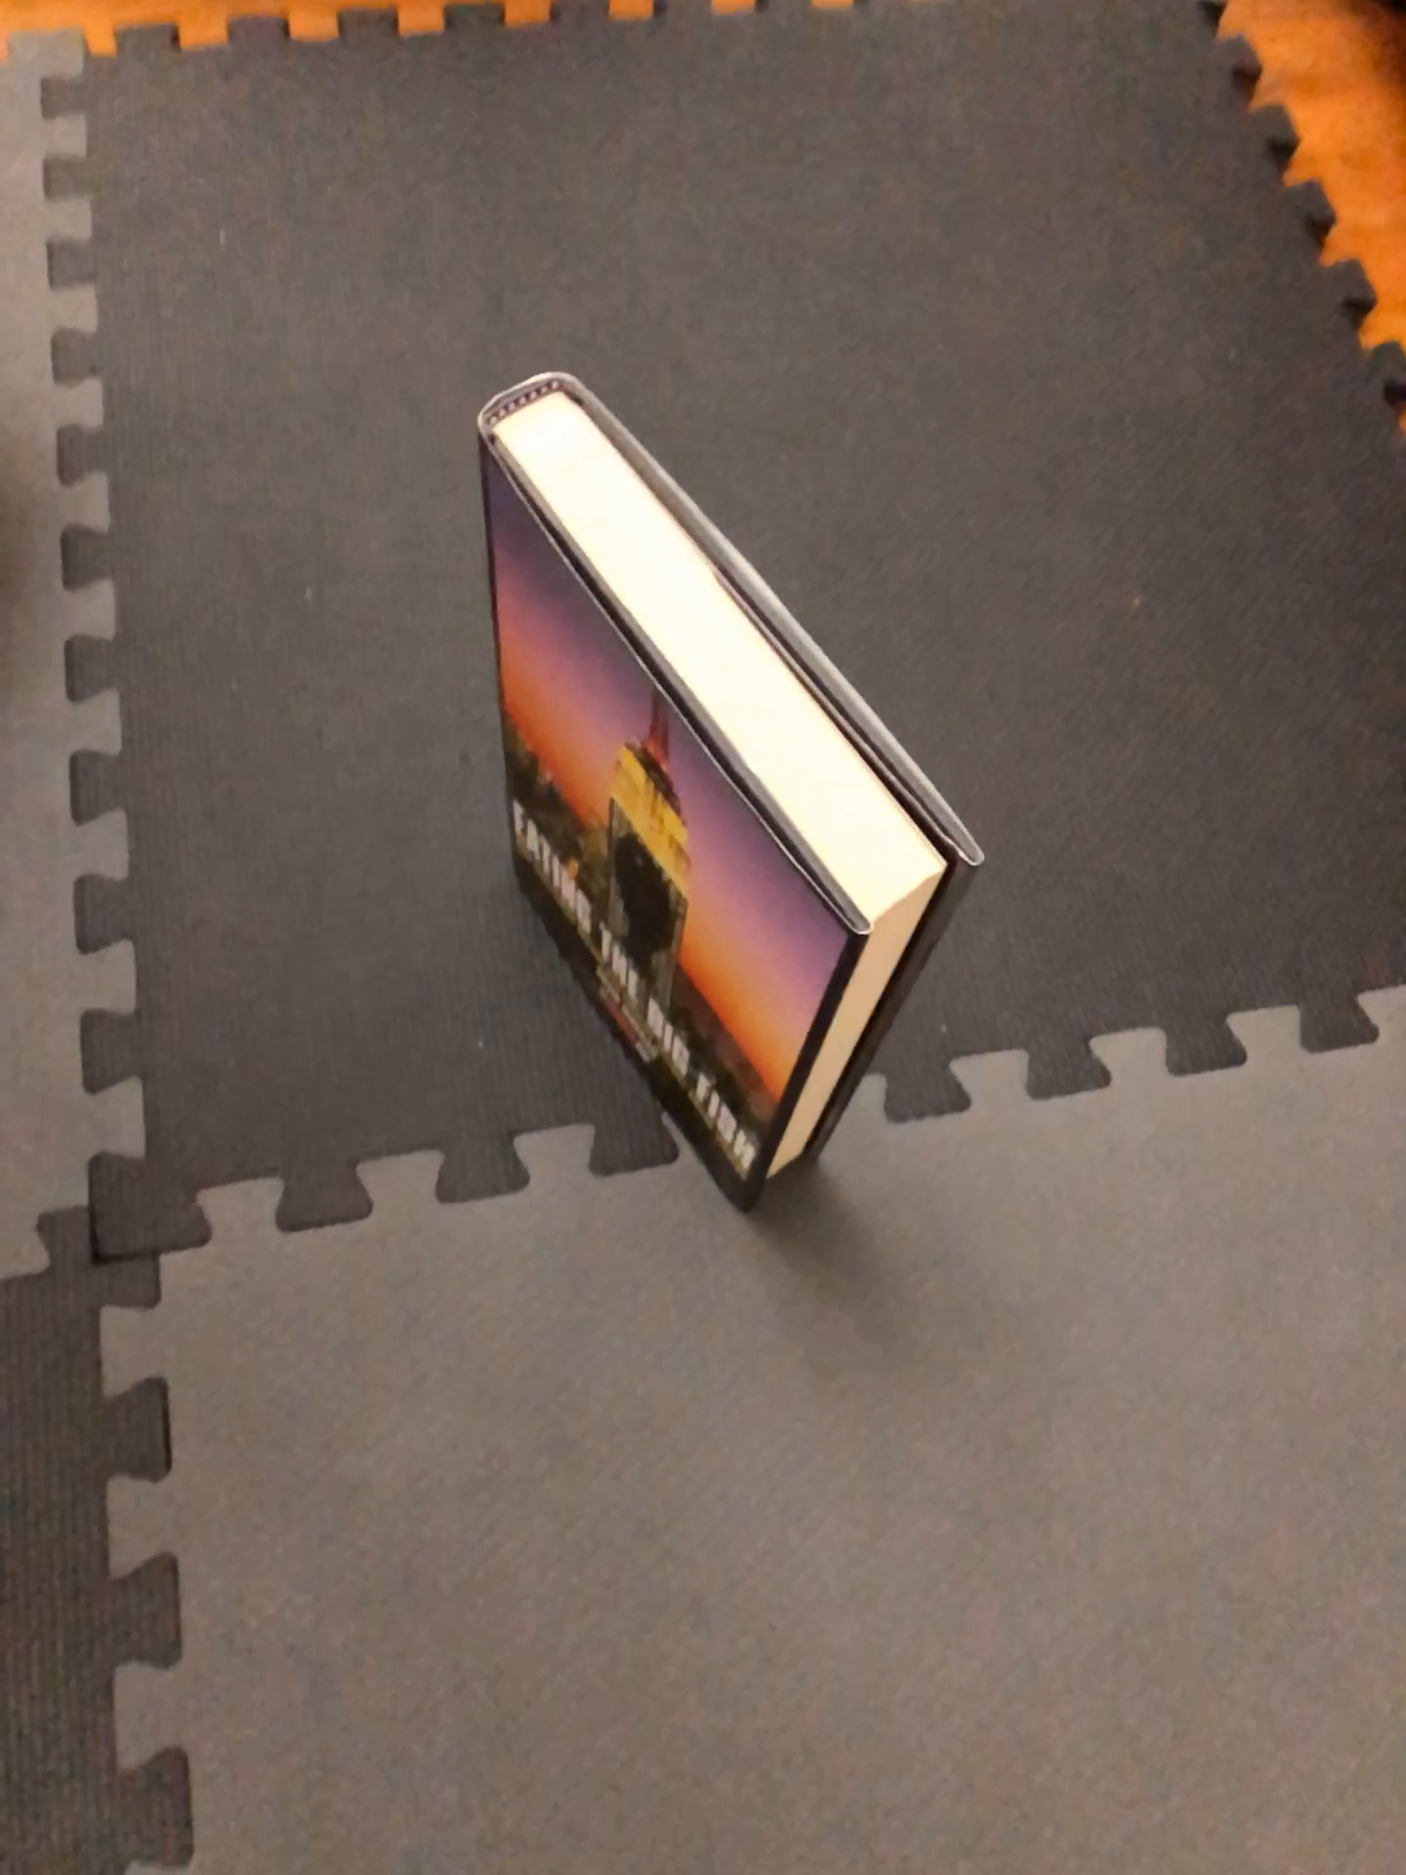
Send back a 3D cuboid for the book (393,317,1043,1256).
[{"bbox_3d":[-0.008,-0.020,0.466,0.050,0.259,0.180,-32,72,-16],"label":"book"}]
